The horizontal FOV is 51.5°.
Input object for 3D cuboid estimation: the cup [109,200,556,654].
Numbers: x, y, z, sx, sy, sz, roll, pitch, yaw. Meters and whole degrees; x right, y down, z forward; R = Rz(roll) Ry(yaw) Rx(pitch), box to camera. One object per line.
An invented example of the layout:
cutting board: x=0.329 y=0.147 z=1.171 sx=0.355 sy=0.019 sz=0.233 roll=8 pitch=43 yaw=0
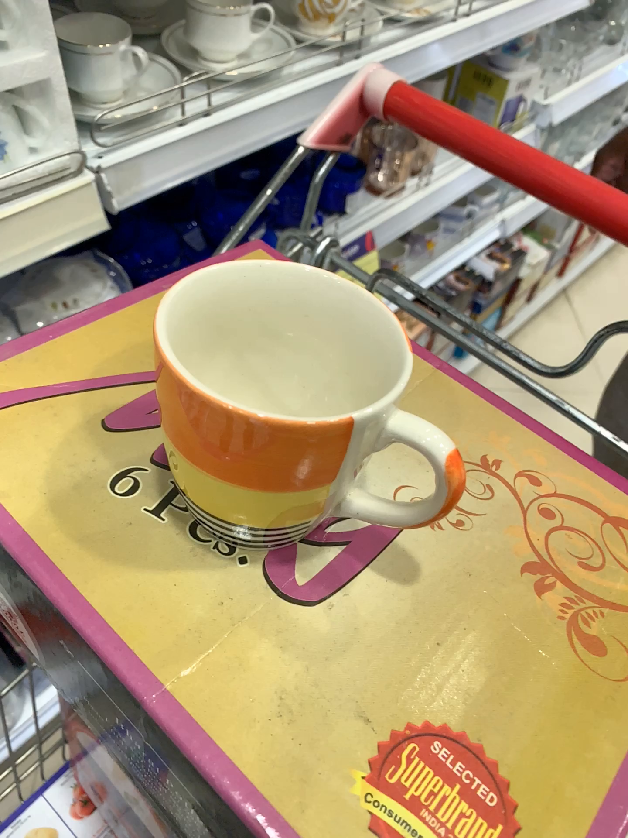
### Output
cup: x=0.004 y=-0.003 z=0.193 sx=0.090 sy=0.070 sz=0.080 roll=29 pitch=45 yaw=17
